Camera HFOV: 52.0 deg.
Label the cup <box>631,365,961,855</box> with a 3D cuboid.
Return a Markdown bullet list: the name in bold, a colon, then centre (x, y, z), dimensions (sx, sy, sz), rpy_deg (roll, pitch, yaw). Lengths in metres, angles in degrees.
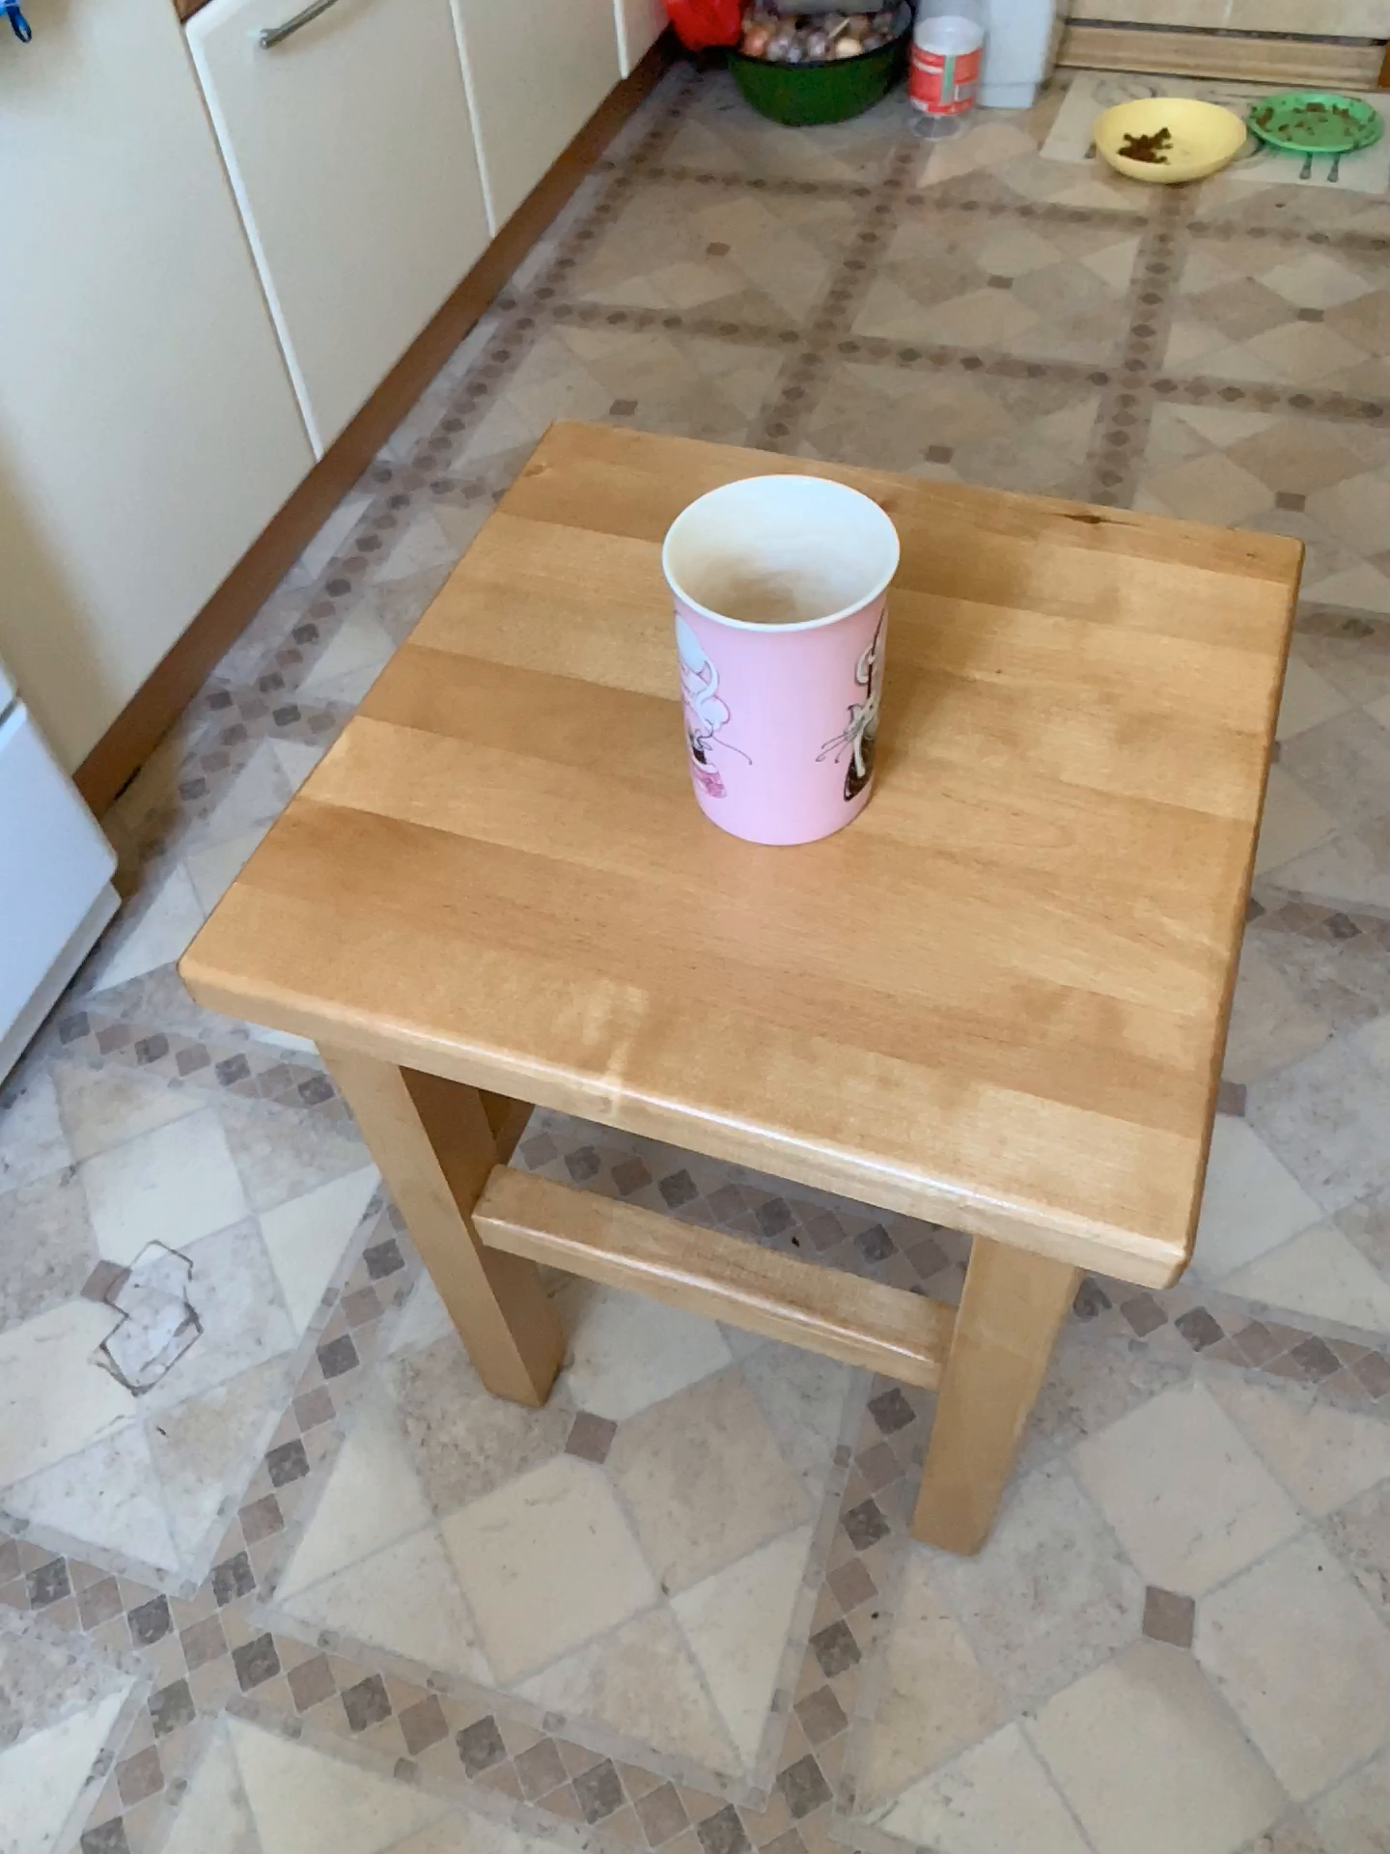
- **cup**: centre (0.030, -0.108, 0.486), dimensions (0.080, 0.099, 0.121), rpy_deg (-10, 52, -3)
